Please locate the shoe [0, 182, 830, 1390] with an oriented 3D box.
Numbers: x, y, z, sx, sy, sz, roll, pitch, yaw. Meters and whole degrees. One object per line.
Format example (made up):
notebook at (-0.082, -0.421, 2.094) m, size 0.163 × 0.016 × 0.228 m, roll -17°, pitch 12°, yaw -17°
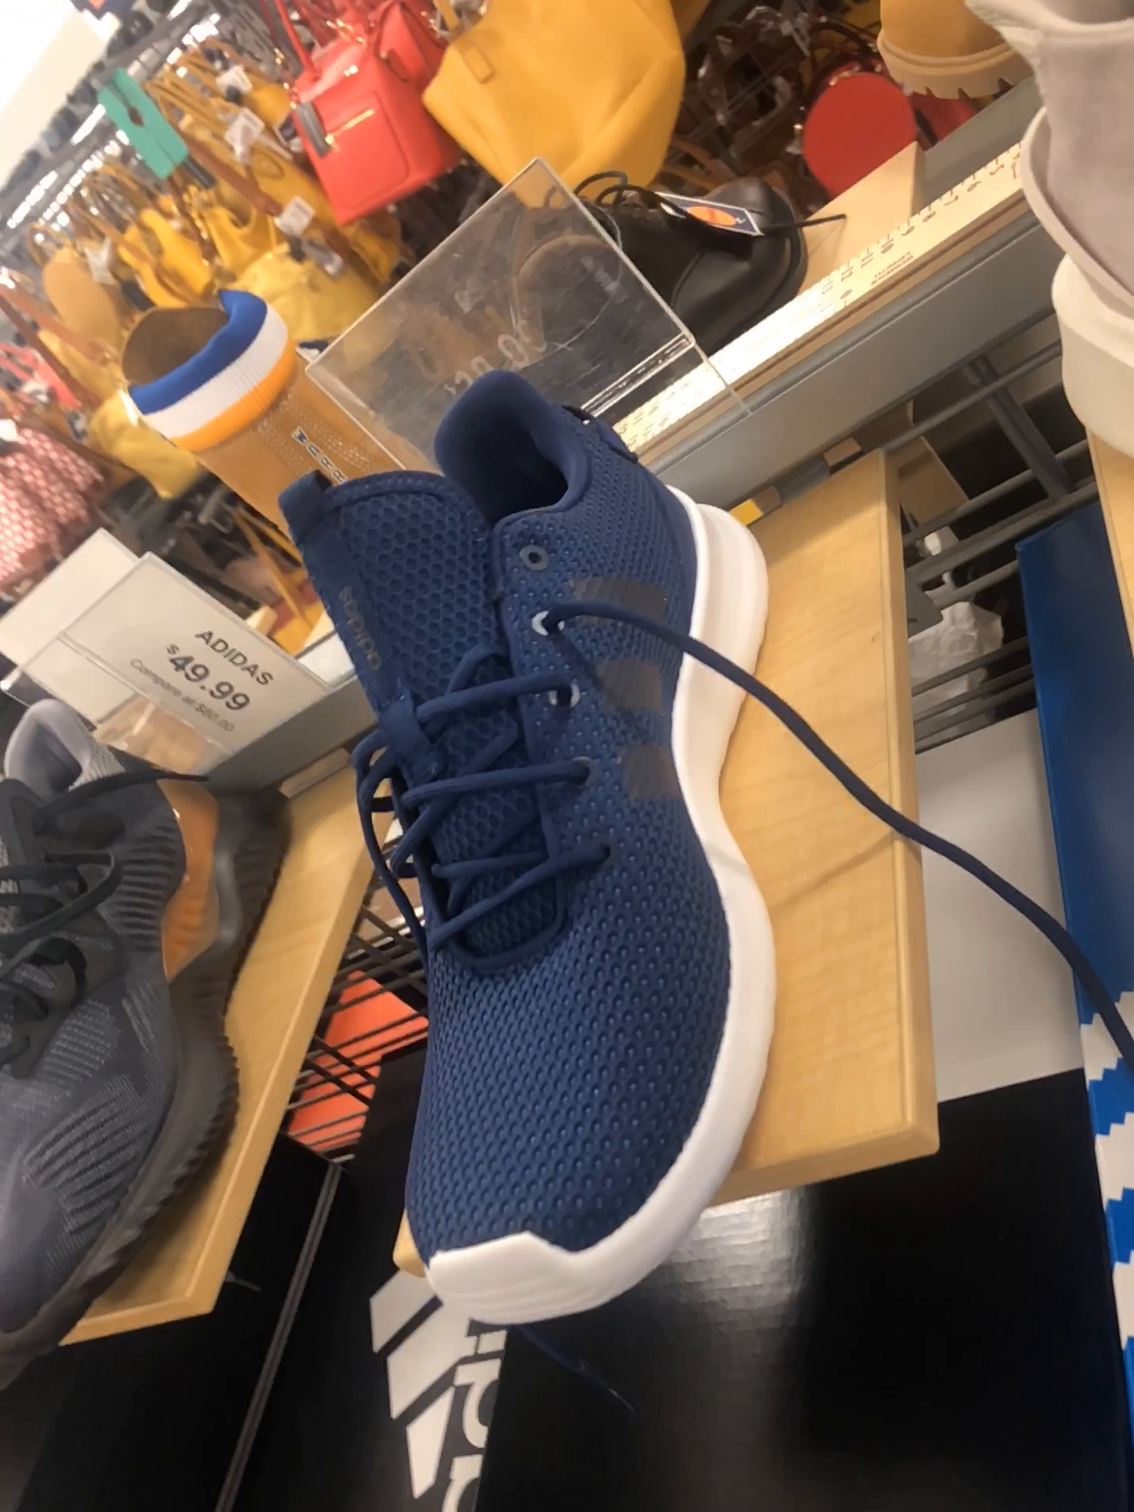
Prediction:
shoe at (-0.019, -0.011, 0.359) m, size 0.112 × 0.145 × 0.305 m, roll -27°, pitch 33°, yaw 35°
